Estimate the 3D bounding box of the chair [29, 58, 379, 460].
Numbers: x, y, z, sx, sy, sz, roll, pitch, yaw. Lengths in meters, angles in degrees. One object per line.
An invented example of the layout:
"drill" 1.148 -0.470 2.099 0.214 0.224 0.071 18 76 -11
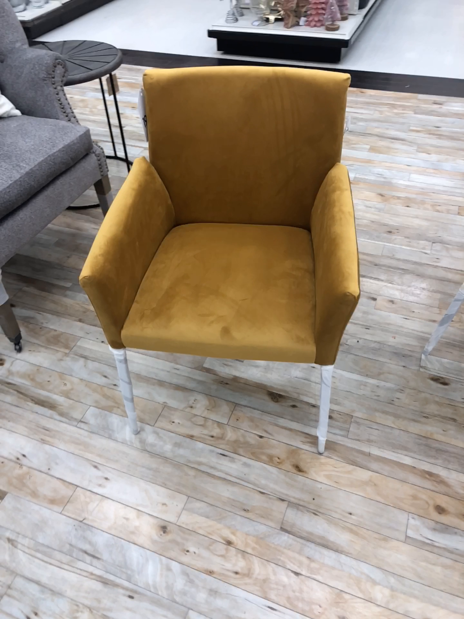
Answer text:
"chair" -0.002 -0.111 1.269 0.560 0.797 0.542 4 43 8
